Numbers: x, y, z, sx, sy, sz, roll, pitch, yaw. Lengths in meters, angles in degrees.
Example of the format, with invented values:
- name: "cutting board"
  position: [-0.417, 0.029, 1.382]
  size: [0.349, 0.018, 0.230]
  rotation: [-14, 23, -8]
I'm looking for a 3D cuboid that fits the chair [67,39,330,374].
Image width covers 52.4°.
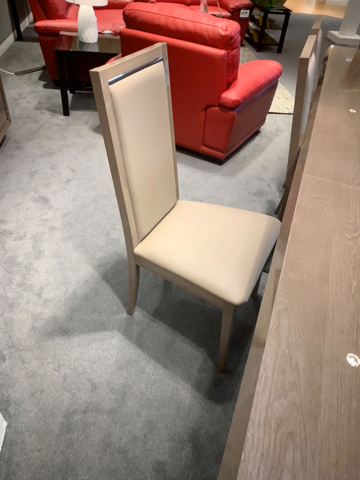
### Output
- name: "chair"
  position: [0.059, -0.109, 1.333]
  size: [0.586, 0.946, 0.543]
  rotation: [19, 42, 15]
